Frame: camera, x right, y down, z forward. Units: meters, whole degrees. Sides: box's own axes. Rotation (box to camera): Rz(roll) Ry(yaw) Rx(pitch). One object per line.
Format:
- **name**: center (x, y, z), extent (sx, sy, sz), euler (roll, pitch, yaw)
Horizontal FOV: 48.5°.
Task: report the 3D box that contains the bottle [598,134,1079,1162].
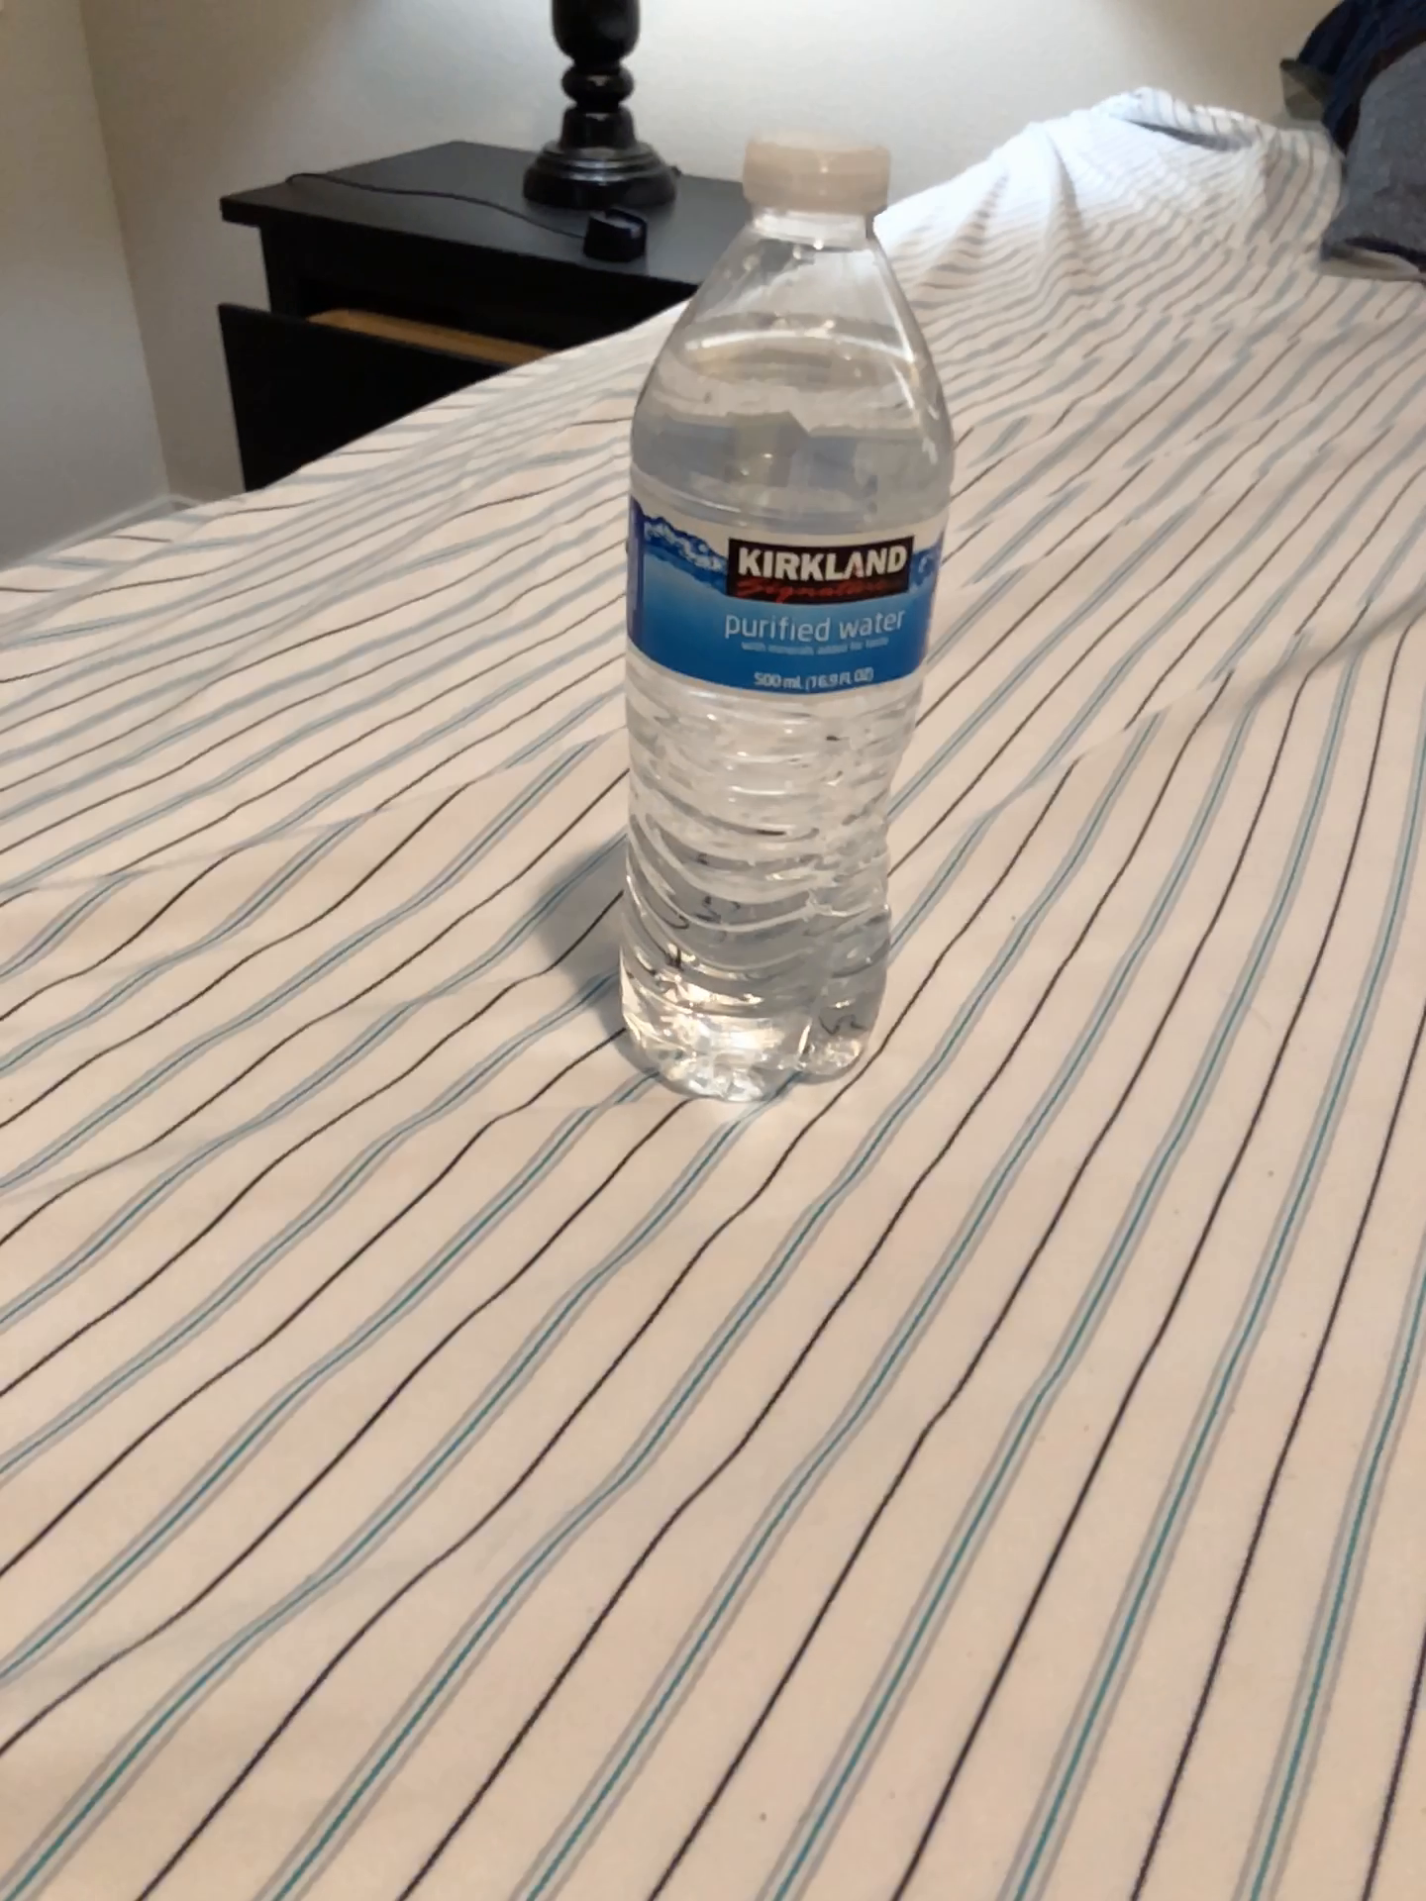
- **bottle**: center (0.016, -0.055, 0.334), extent (0.070, 0.199, 0.070), euler (1, 36, -1)
